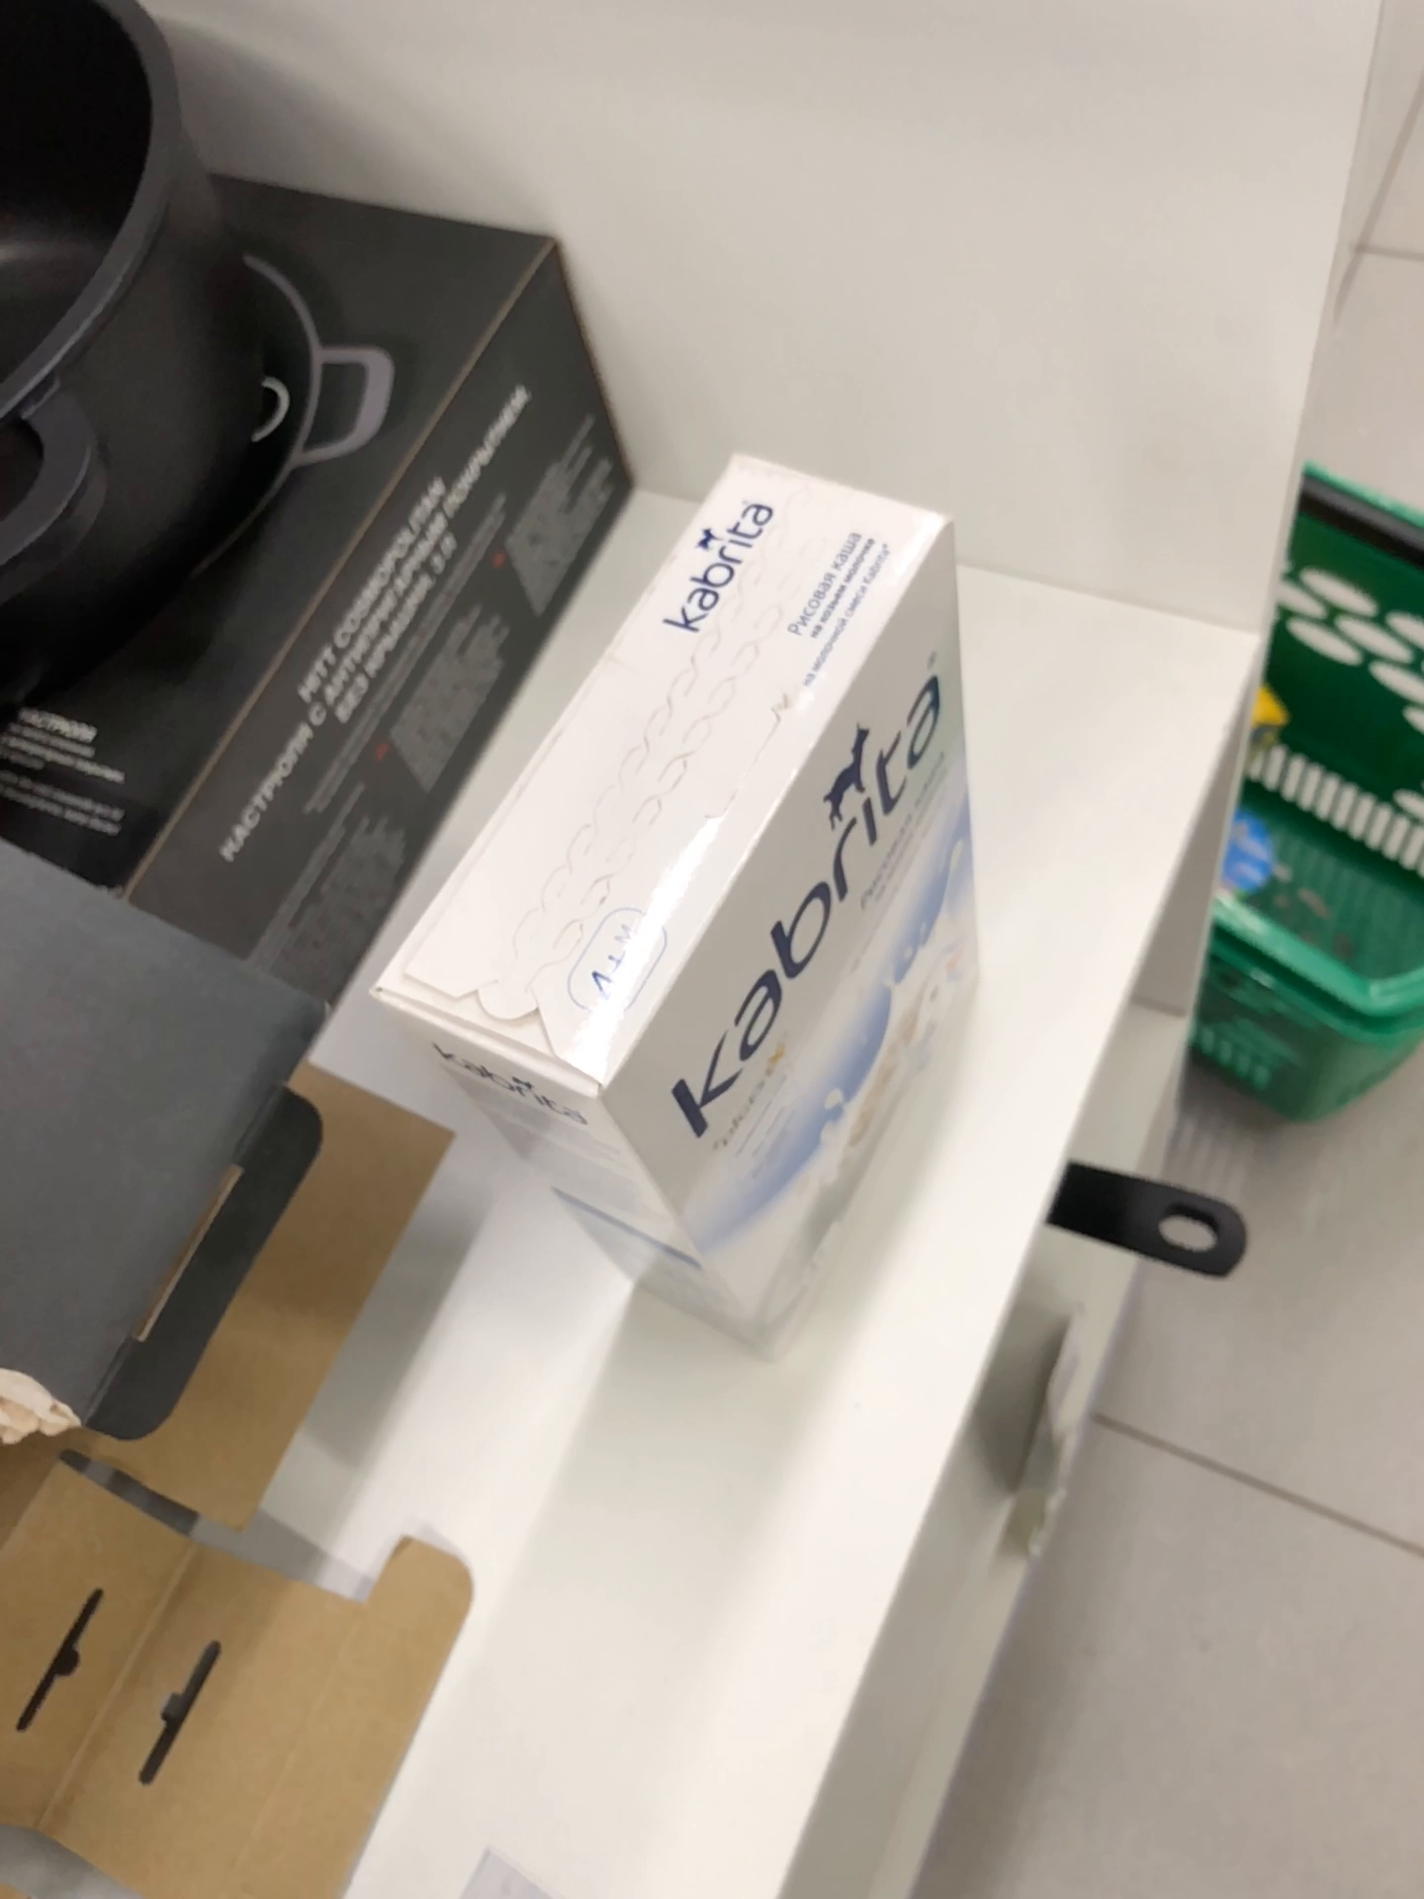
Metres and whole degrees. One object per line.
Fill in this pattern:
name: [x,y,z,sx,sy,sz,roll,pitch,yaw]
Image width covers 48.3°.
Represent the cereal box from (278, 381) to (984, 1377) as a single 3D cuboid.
cereal box: [0.004,0.002,0.373,0.060,0.209,0.140,23,70,21]
